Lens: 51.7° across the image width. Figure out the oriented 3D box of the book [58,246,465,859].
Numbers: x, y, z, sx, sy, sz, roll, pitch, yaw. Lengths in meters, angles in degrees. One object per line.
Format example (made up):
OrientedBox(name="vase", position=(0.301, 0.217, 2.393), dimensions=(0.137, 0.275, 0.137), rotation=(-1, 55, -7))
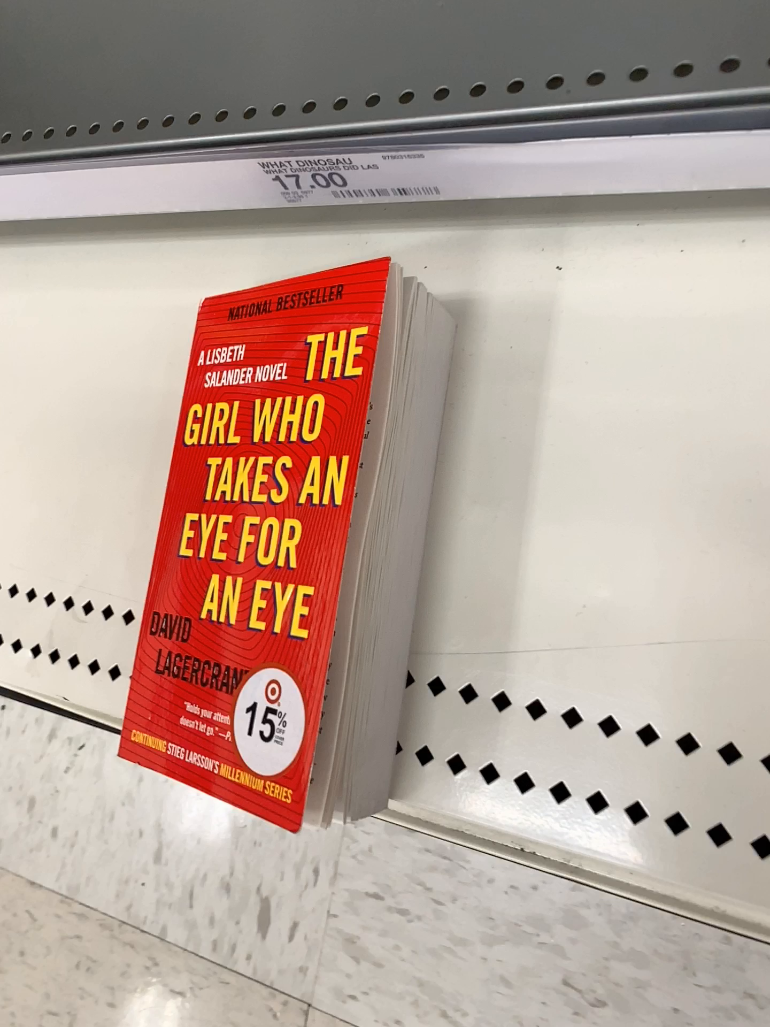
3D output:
OrientedBox(name="book", position=(-0.045, 0.007, 0.300), dimensions=(0.115, 0.046, 0.199), rotation=(5, 82, 25))
